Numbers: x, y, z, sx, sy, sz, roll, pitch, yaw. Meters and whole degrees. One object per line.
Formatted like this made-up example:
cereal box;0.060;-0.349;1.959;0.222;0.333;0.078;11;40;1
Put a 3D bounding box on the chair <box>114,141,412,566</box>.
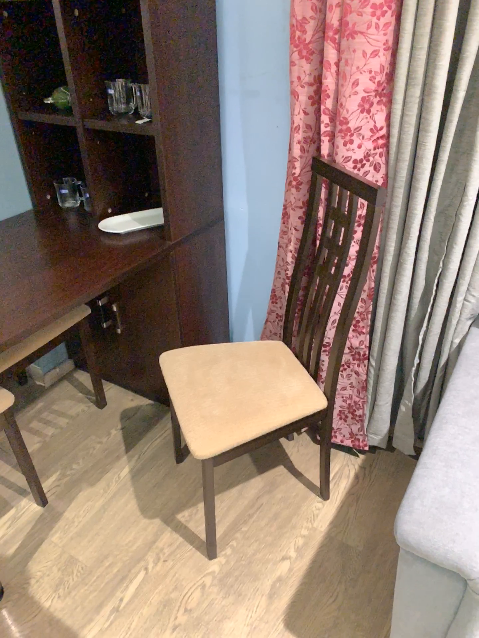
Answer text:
chair;0.025;0.085;1.373;0.510;0.976;0.532;-13;34;-17
